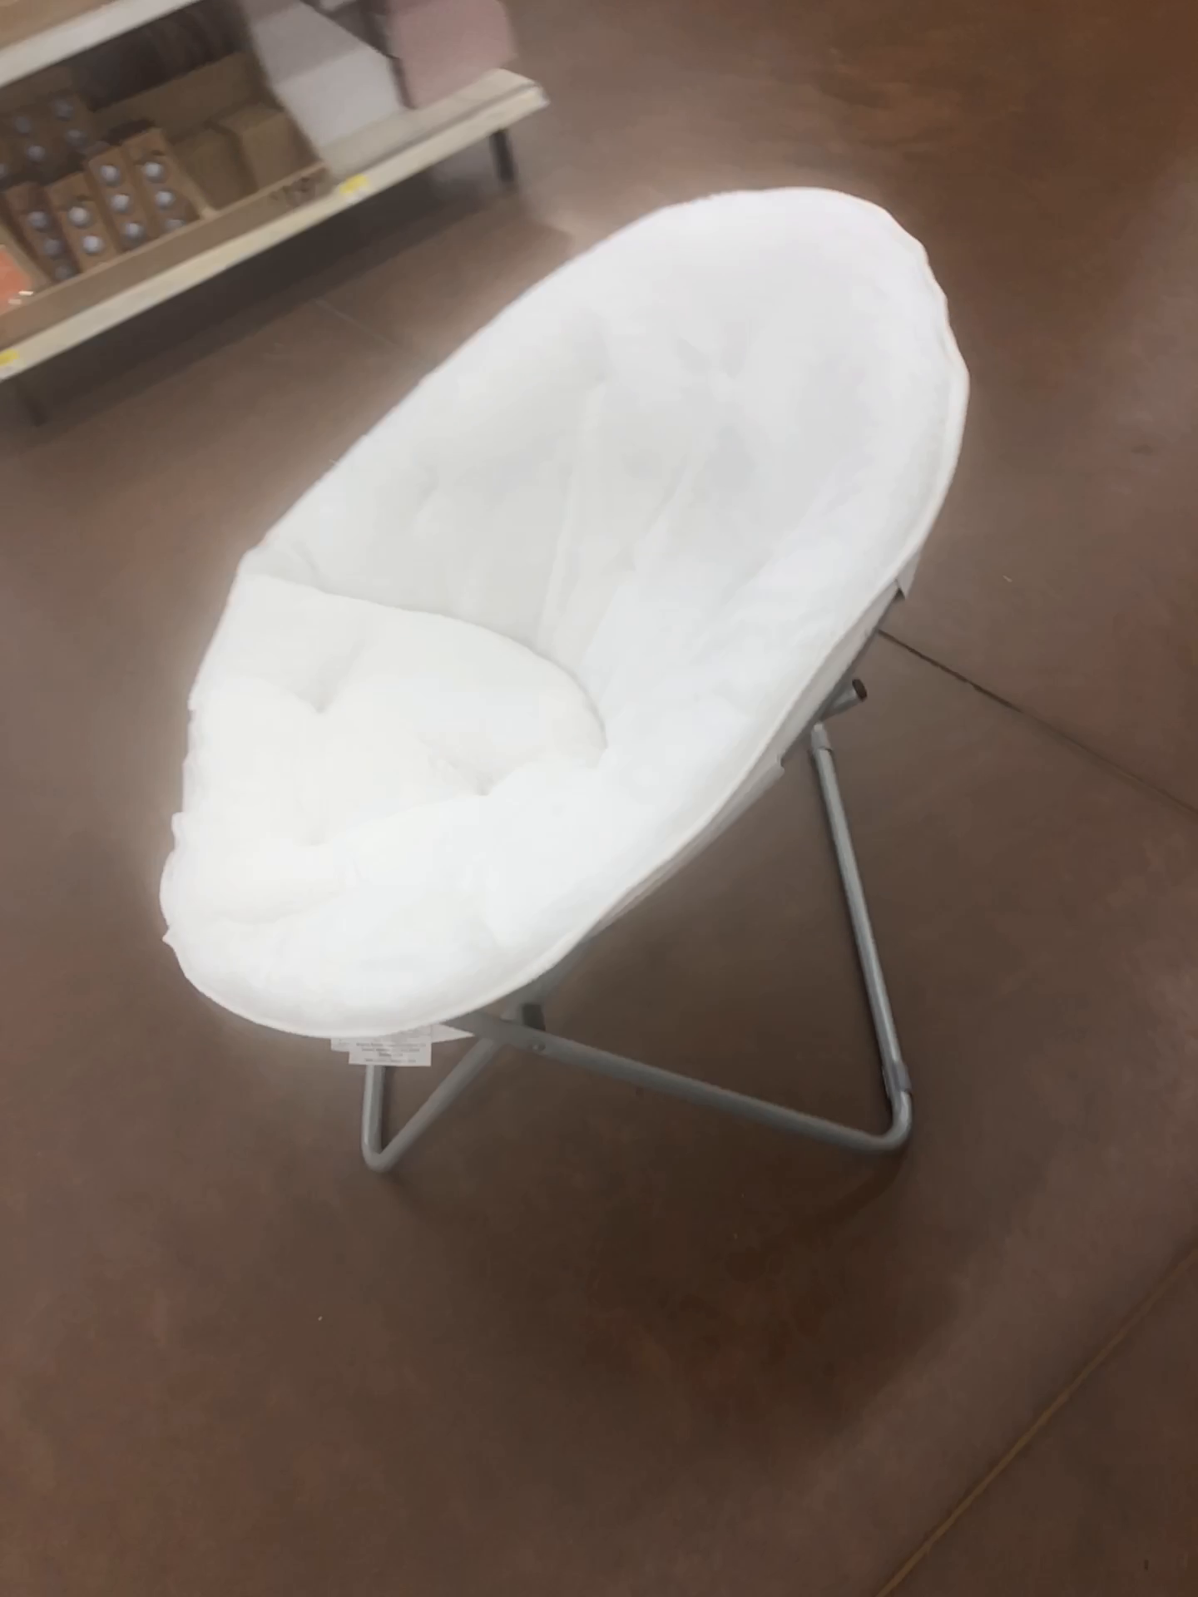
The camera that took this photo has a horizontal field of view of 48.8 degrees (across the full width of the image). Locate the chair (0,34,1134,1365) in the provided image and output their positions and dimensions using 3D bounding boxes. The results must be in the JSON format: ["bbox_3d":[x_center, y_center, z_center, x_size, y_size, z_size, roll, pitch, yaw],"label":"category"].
[{"bbox_3d":[-0.101,-0.073,1.097,0.750,0.648,0.762,-9,47,6],"label":"chair"}]
